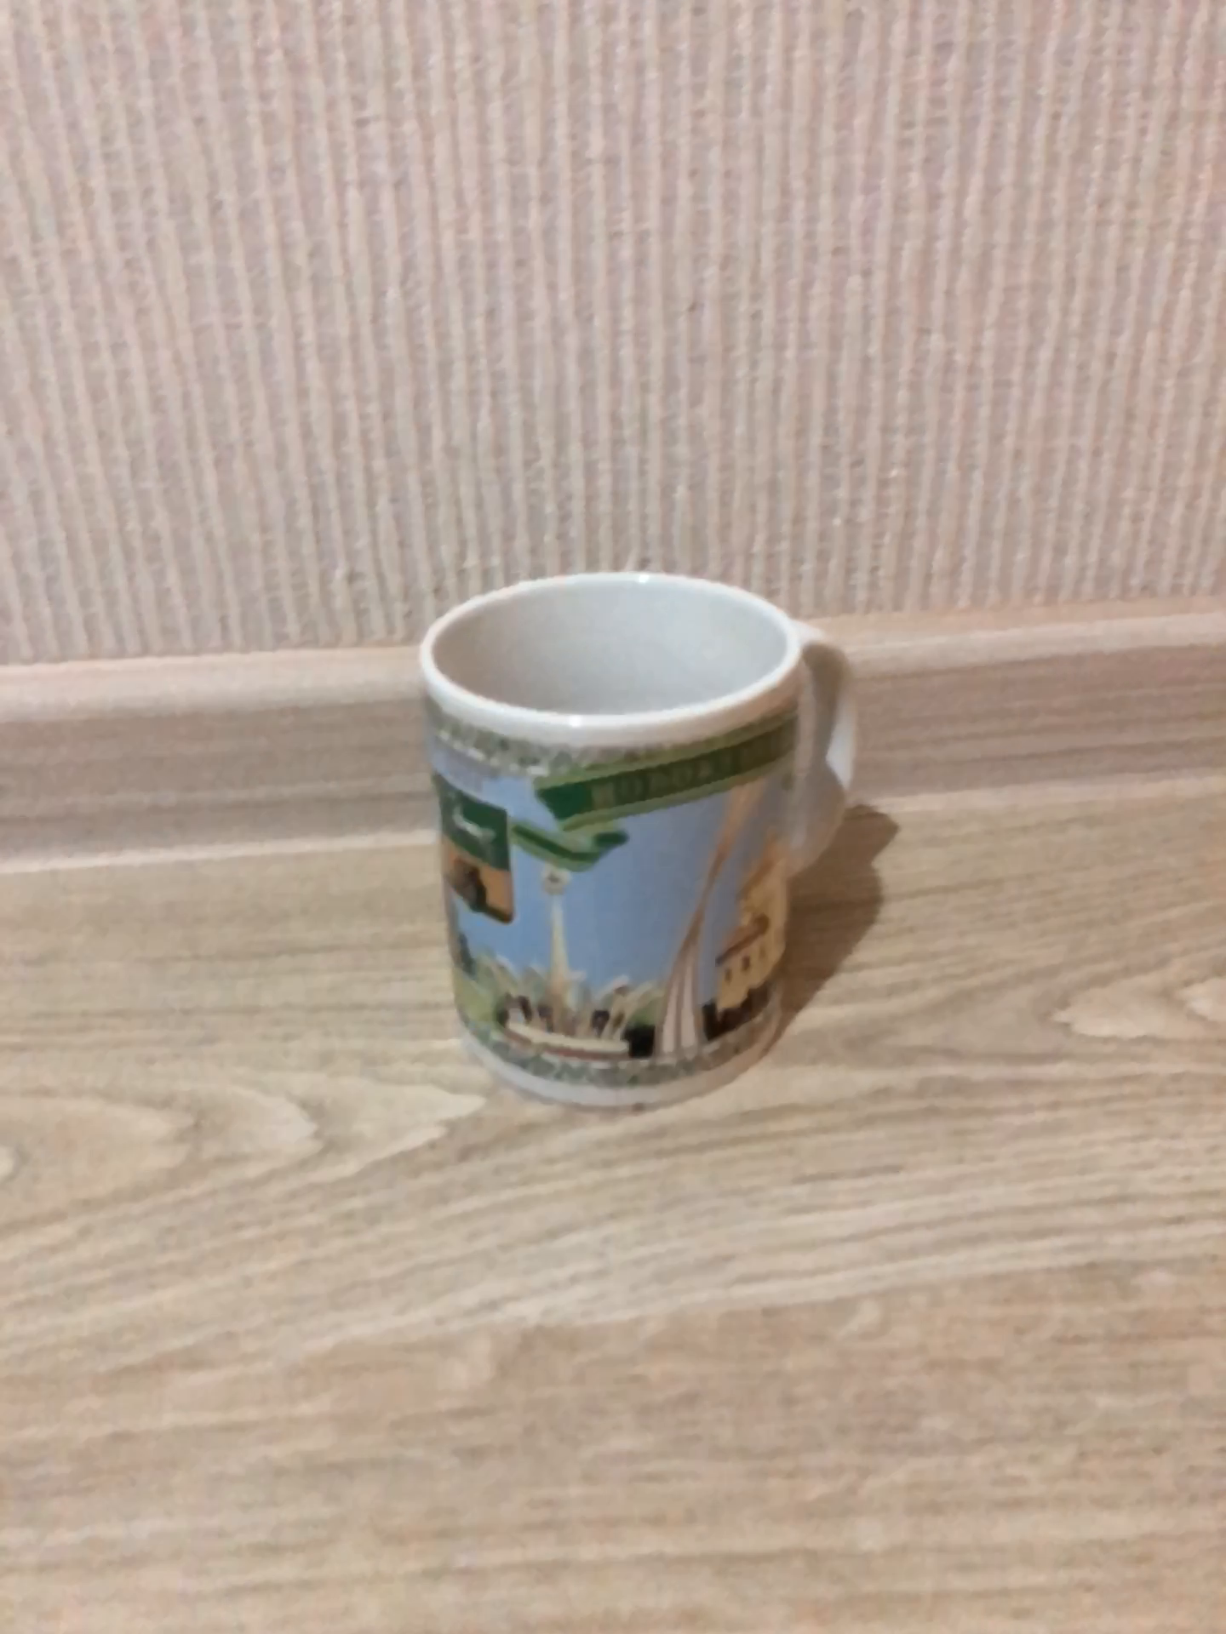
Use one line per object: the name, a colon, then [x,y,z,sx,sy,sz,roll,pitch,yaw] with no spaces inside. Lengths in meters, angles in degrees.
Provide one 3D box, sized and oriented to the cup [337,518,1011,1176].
cup: [0.015,-0.002,0.311,0.121,0.096,0.082,-20,33,-30]
